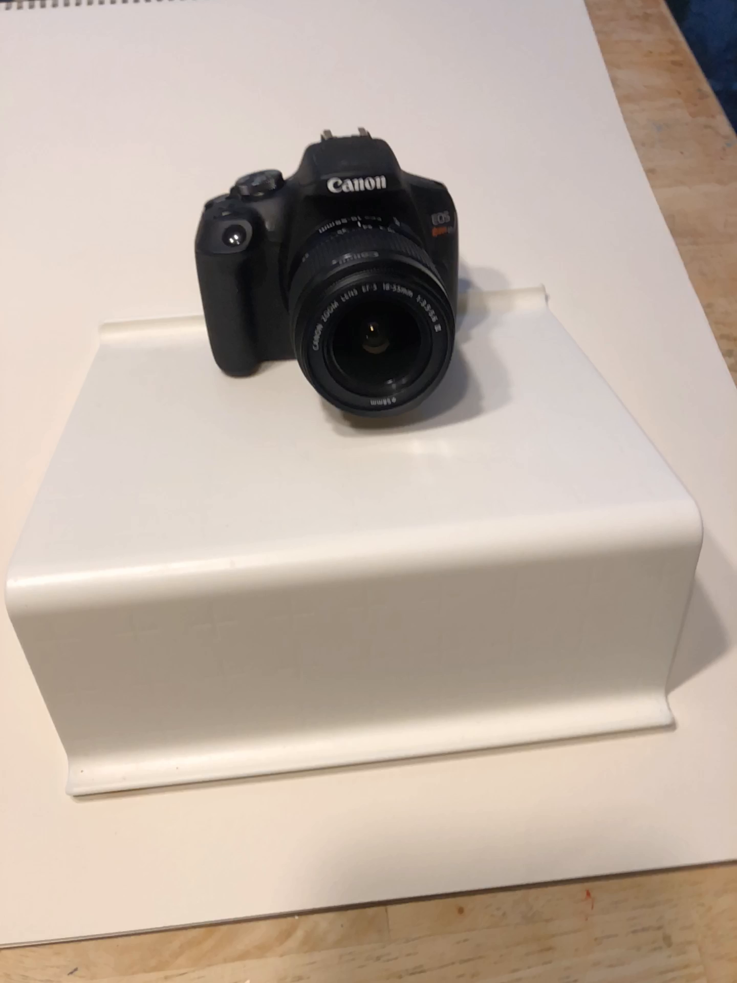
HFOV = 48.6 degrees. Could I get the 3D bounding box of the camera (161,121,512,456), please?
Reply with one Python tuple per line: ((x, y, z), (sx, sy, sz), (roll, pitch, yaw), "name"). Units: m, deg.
((-0.016, -0.101, 0.377), (0.125, 0.104, 0.141), (-5, 32, -4), "camera")
